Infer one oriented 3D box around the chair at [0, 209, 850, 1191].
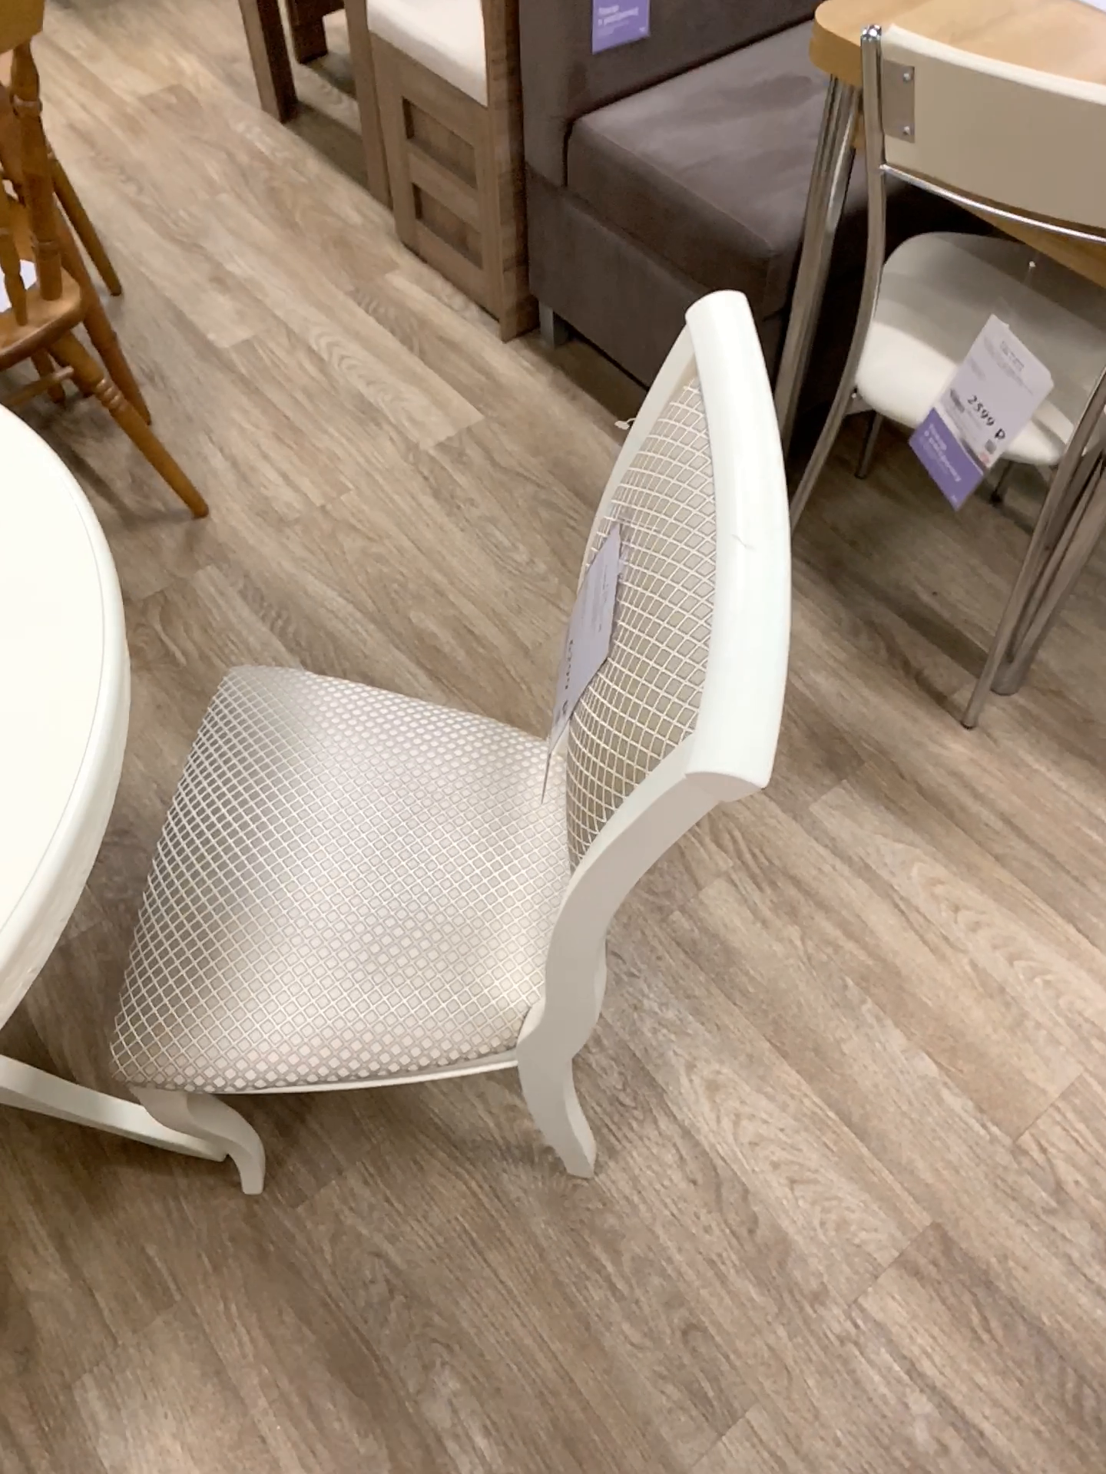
[{"bbox_3d":[-0.109,0.071,1.056,0.510,0.907,0.462,-1,56,0],"label":"chair"}]
